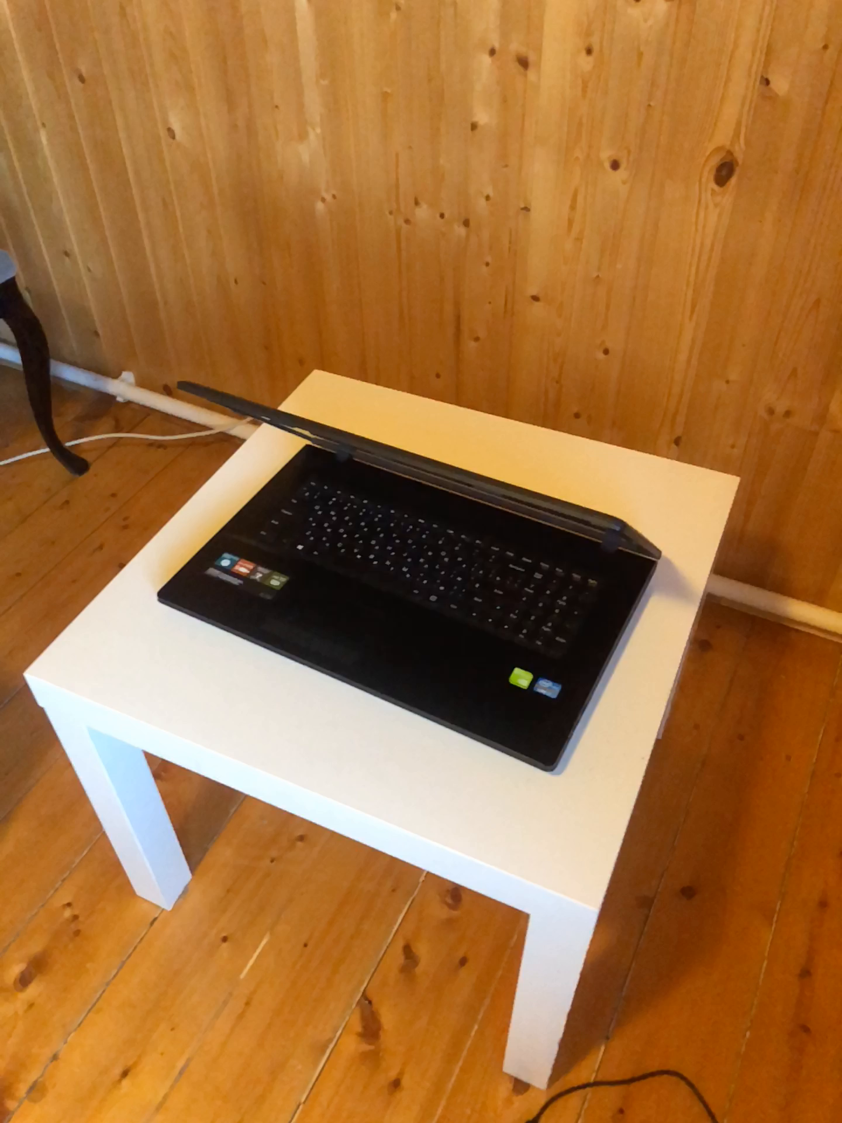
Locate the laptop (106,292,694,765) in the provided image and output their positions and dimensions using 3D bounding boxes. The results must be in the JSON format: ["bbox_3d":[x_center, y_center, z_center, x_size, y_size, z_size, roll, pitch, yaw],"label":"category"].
[{"bbox_3d":[-0.011,-0.048,0.813,0.401,0.183,0.252,20,49,19],"label":"laptop"}]
